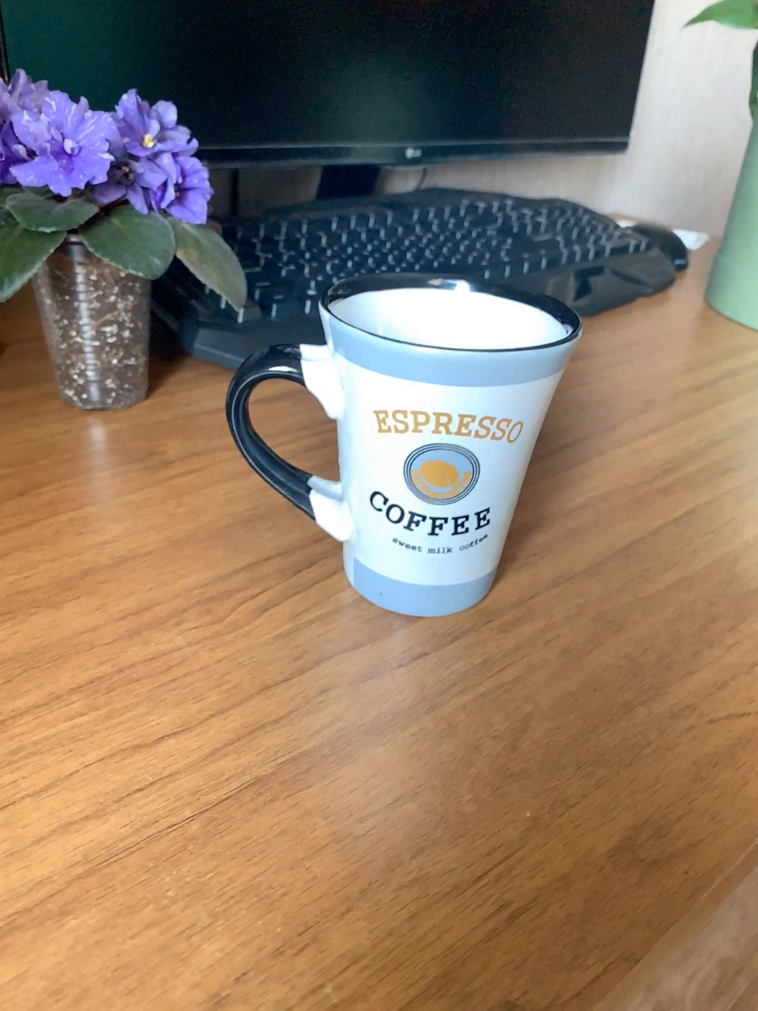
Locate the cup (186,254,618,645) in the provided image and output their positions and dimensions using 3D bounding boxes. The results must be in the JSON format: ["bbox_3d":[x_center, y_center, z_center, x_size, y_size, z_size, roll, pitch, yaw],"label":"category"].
[{"bbox_3d":[0.004,-0.020,0.256,0.110,0.100,0.070,3,29,0],"label":"cup"}]
